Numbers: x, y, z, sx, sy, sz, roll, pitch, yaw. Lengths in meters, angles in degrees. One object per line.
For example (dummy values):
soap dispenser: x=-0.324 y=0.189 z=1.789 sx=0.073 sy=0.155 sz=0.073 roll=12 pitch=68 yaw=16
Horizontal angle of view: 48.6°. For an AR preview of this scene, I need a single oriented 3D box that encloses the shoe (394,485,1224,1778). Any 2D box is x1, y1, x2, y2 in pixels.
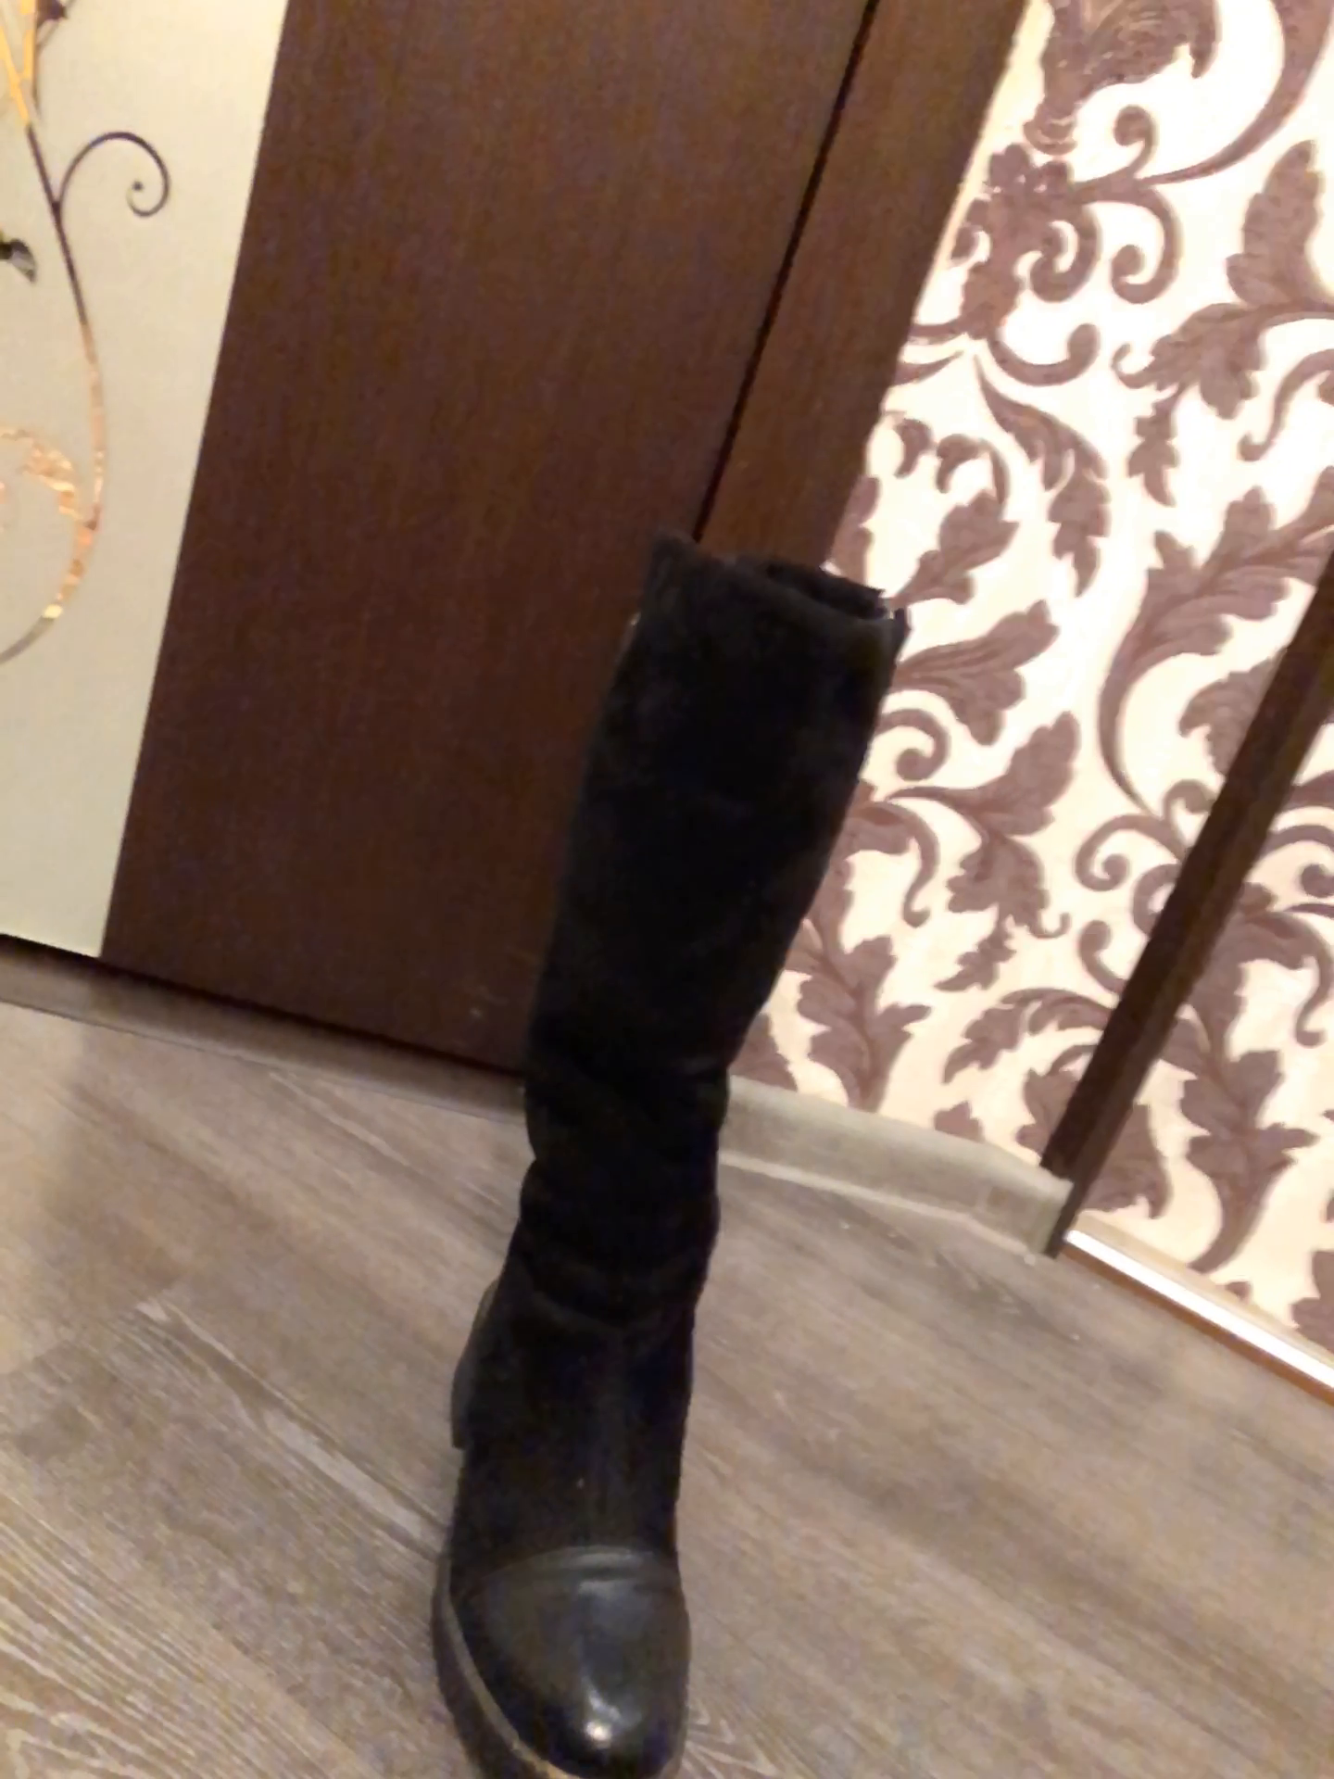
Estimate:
shoe: x=0.005 y=0.091 z=0.537 sx=0.100 sy=0.408 sz=0.251 roll=12 pitch=21 yaw=-19
